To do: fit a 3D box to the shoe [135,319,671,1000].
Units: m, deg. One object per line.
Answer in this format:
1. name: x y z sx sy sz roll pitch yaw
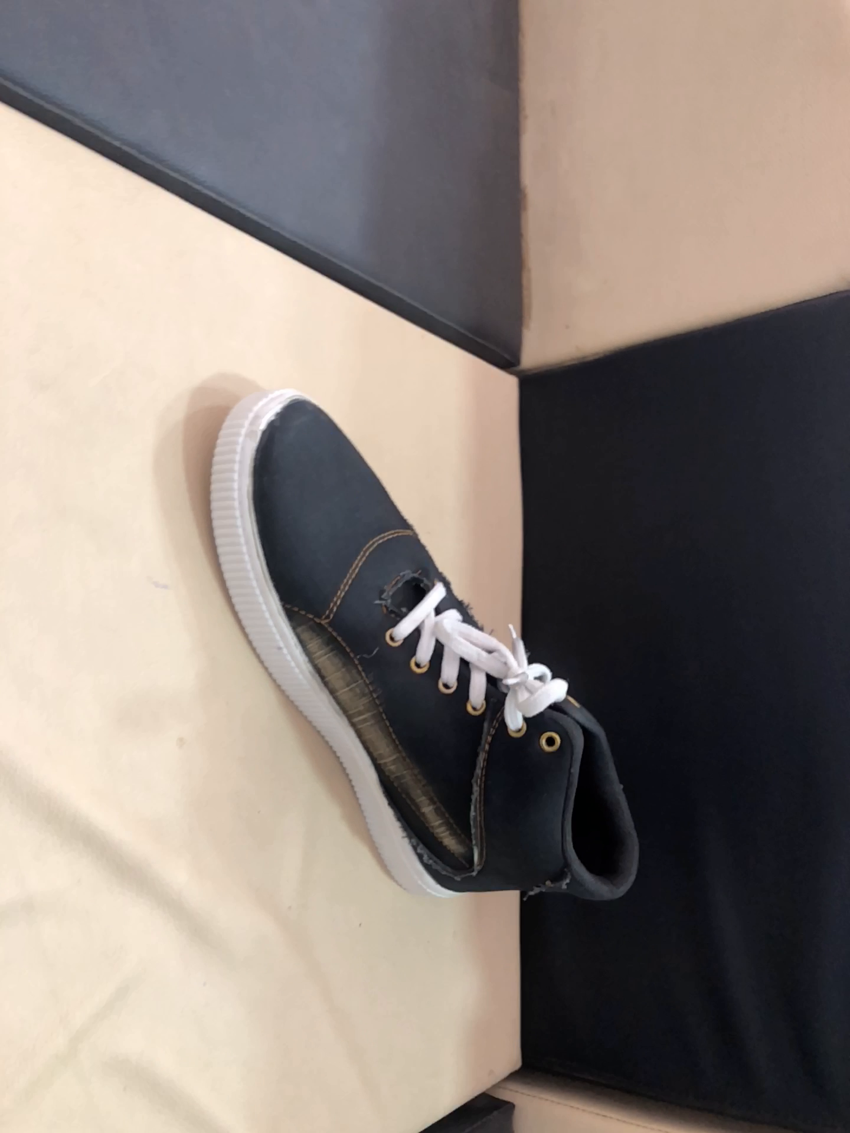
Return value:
1. shoe: 0.008 0.055 0.444 0.101 0.109 0.301 -51 125 -44
